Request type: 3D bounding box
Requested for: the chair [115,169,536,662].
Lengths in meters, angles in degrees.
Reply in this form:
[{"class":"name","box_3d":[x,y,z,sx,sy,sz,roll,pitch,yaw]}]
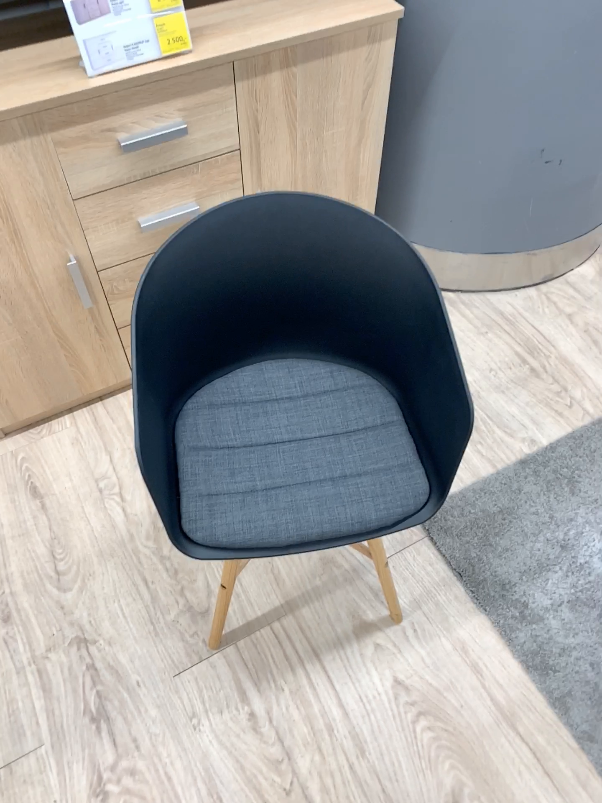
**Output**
[{"class":"chair","box_3d":[-0.009,0.079,1.205,0.510,0.787,0.552,-8,54,-6]}]
